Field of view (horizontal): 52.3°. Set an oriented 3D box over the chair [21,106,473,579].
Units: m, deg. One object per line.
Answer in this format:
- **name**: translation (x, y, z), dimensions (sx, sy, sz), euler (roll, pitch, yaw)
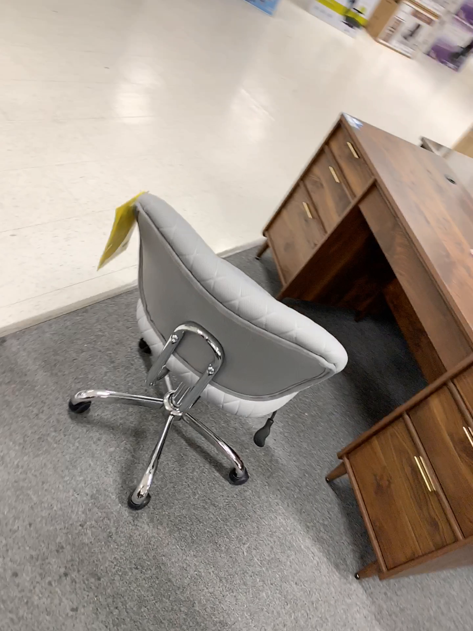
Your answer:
- **chair**: translation (-0.007, 0.075, 1.247), dimensions (0.630, 0.875, 0.643), euler (43, 42, 8)
